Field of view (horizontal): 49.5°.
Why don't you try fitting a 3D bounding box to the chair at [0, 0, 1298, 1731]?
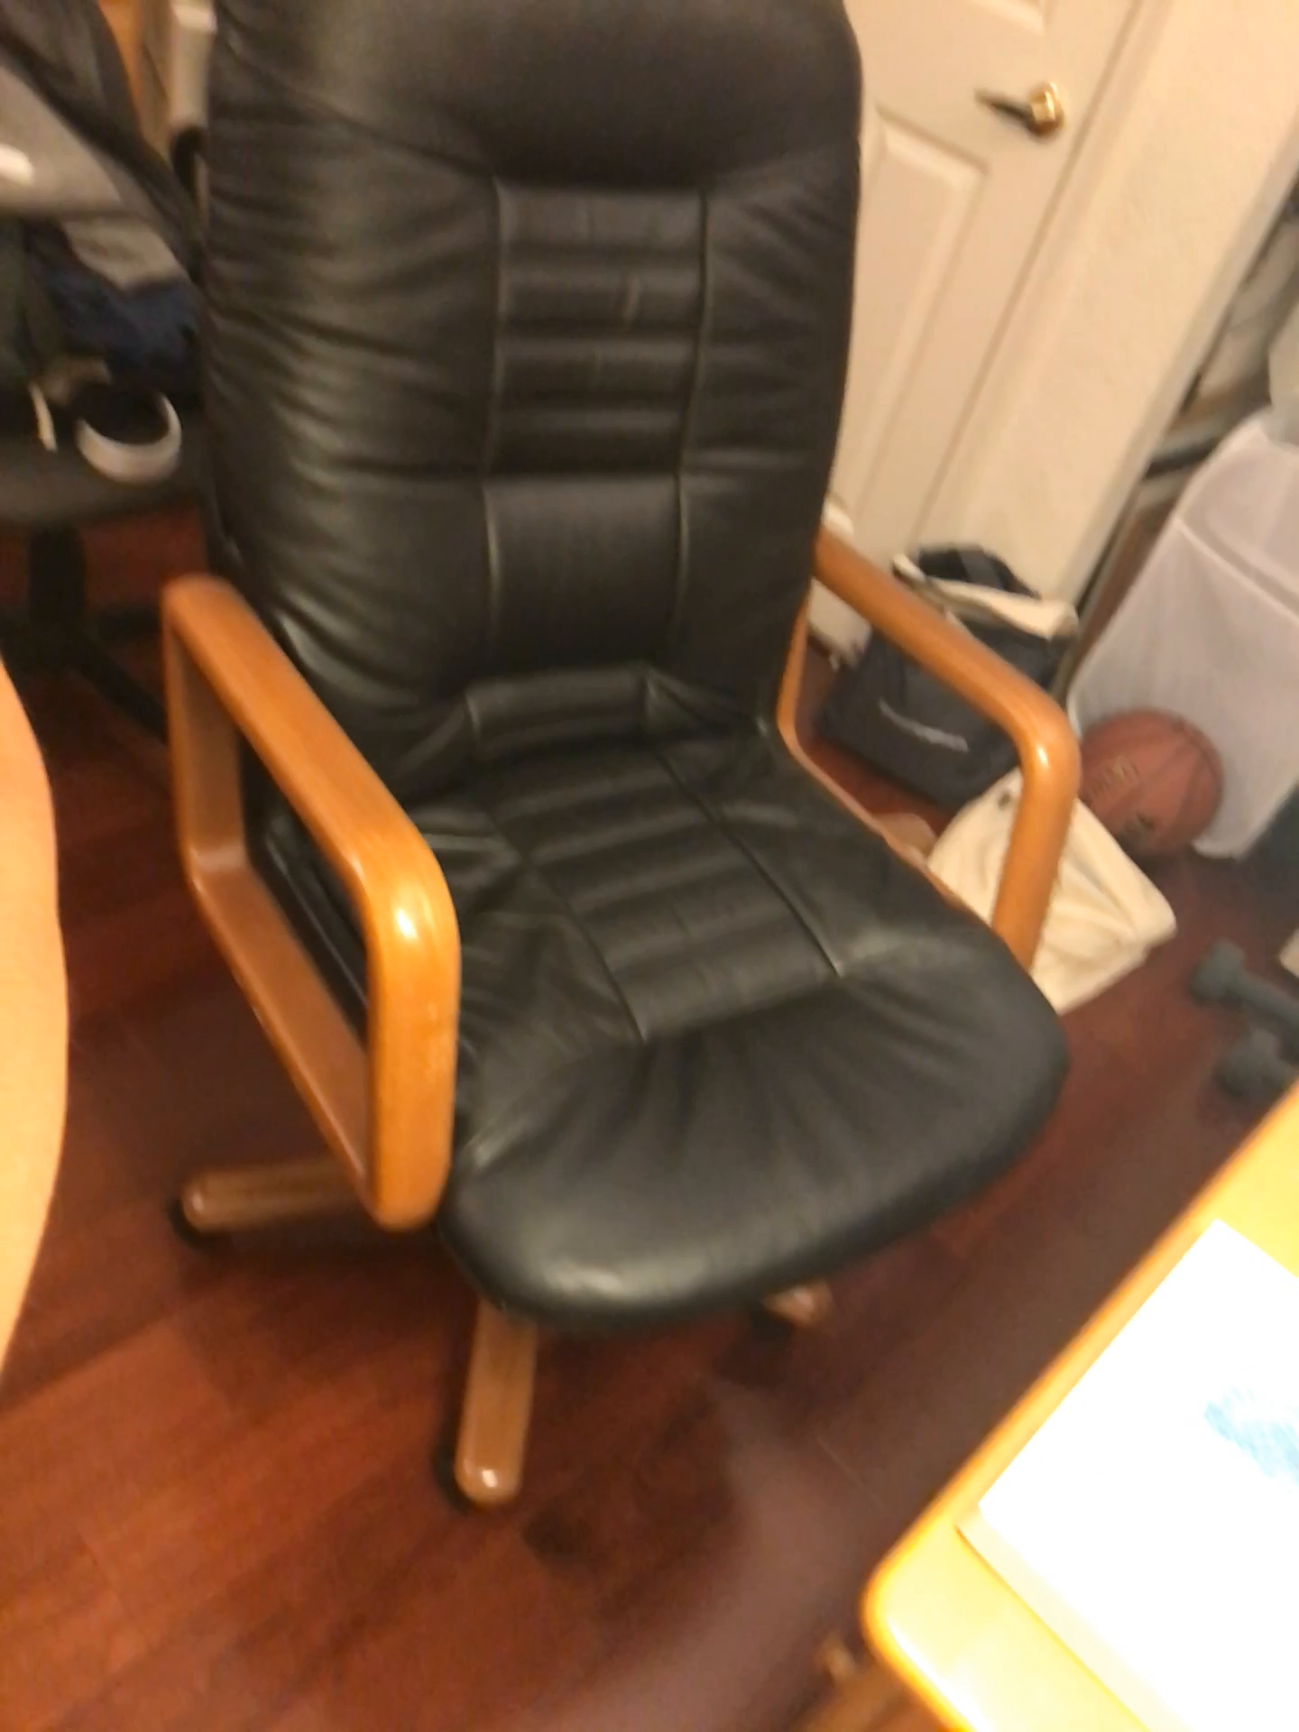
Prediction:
[{"bbox_3d":[0.080,-0.063,1.266,0.994,1.141,0.853,-14,51,-31],"label":"chair"}]
